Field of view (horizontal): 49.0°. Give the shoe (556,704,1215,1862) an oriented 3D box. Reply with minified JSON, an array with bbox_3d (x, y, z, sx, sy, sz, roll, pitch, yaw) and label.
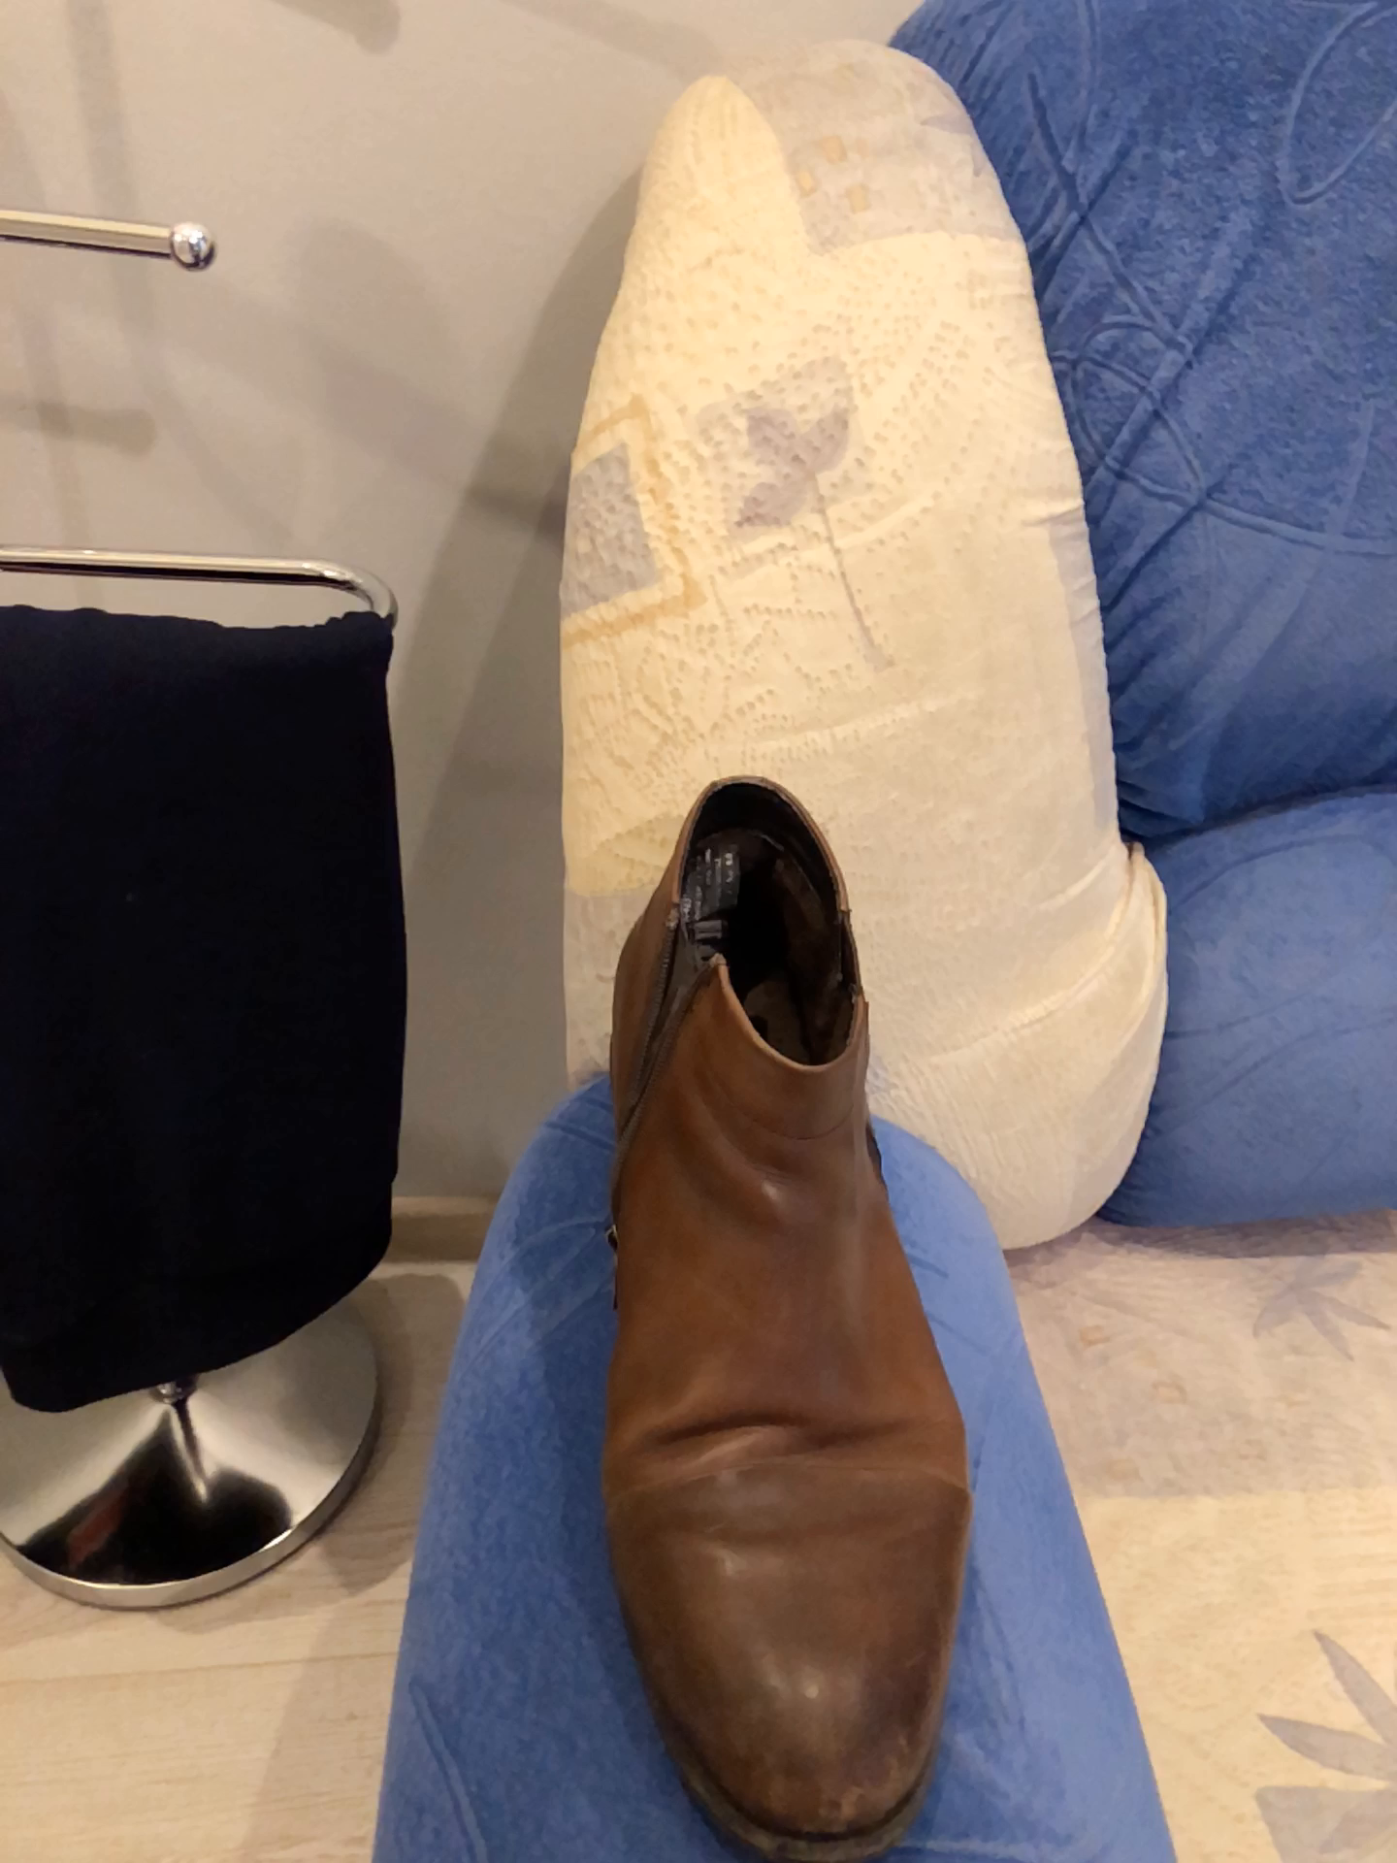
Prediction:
[{"bbox_3d":[0.022,0.077,0.448,0.110,0.139,0.312,-2,41,-7],"label":"shoe"}]
